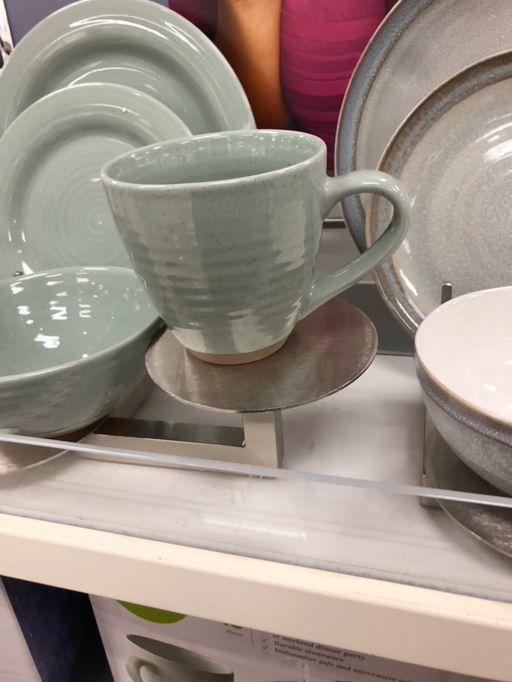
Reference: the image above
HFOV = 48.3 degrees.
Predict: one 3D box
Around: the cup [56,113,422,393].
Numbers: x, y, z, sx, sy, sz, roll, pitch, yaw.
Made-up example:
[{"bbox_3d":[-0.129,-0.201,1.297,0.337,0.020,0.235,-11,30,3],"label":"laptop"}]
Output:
[{"bbox_3d":[0.002,-0.047,0.270,0.129,0.091,0.116,-1,29,8],"label":"cup"}]
